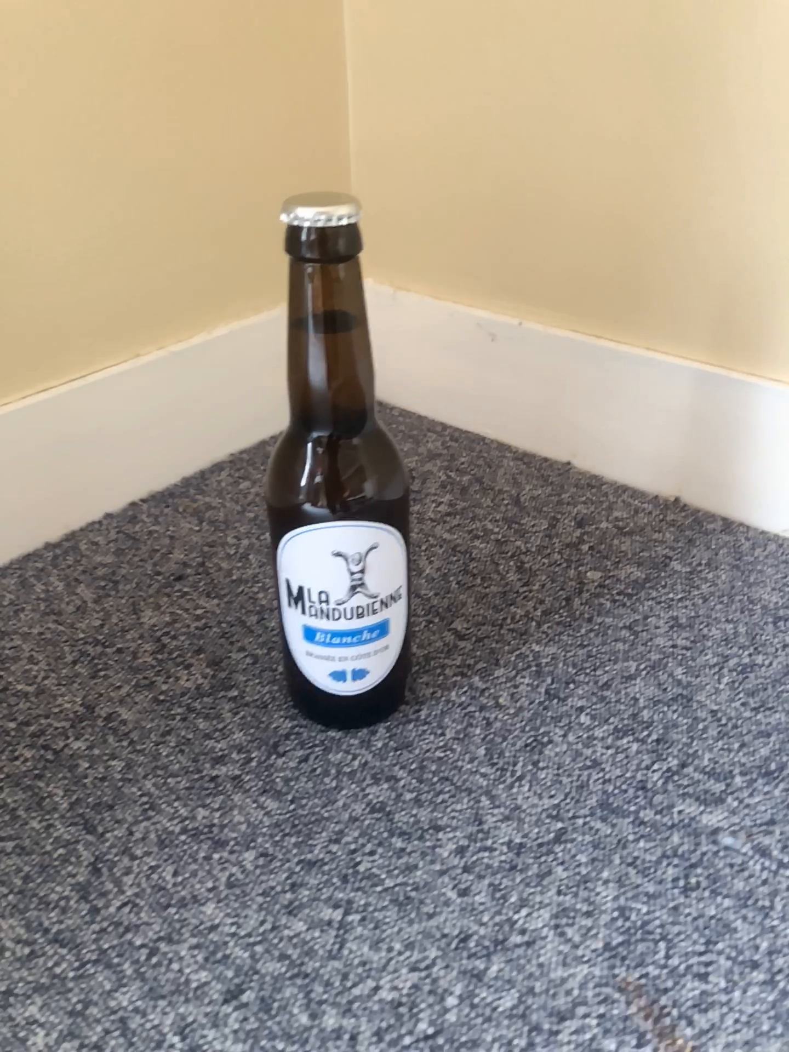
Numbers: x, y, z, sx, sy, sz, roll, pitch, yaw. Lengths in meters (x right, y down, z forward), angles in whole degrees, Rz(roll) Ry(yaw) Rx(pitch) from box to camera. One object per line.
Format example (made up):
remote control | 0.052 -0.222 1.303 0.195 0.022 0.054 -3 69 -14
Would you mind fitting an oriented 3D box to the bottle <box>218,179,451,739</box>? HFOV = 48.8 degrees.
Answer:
bottle | -0.020 -0.019 0.347 0.070 0.209 0.070 -1 32 1
